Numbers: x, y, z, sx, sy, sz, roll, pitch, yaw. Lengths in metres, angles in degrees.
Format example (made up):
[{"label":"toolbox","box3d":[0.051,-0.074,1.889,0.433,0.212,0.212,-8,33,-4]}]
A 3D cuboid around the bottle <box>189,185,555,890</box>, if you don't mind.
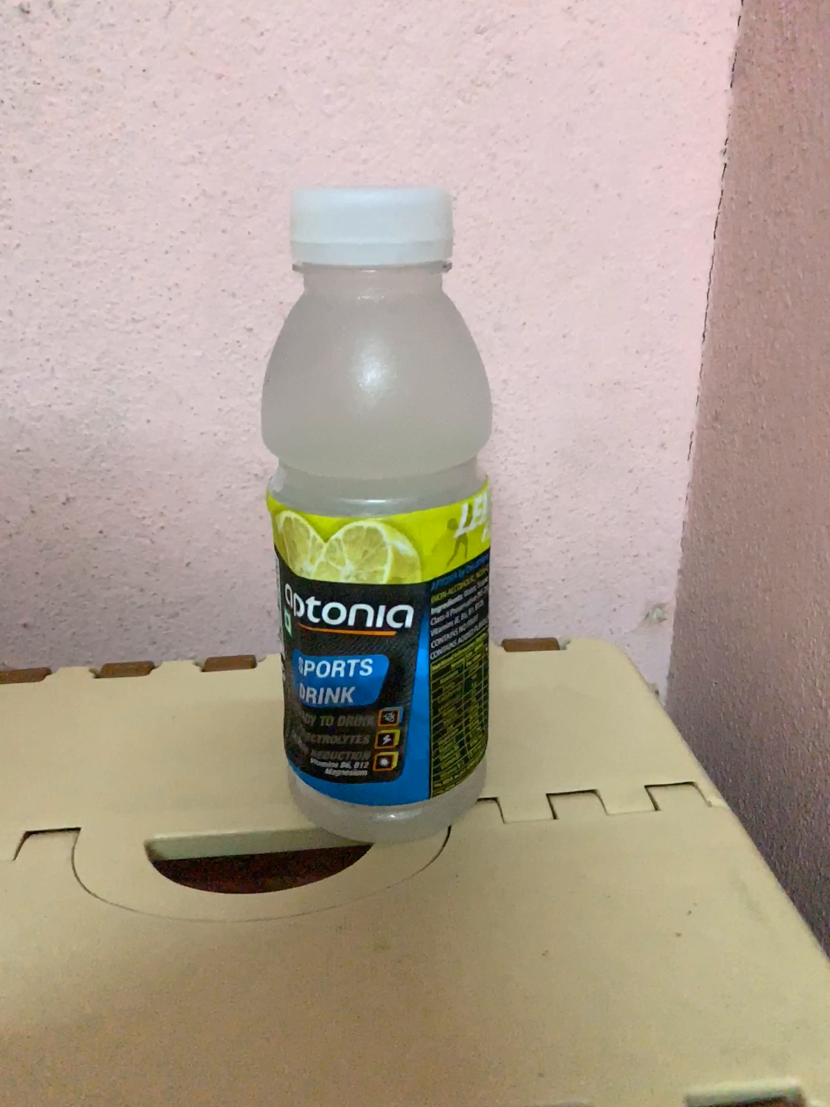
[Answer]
[{"label":"bottle","box3d":[-0.007,-0.006,0.242,0.070,0.179,0.060,8,24,21]}]
